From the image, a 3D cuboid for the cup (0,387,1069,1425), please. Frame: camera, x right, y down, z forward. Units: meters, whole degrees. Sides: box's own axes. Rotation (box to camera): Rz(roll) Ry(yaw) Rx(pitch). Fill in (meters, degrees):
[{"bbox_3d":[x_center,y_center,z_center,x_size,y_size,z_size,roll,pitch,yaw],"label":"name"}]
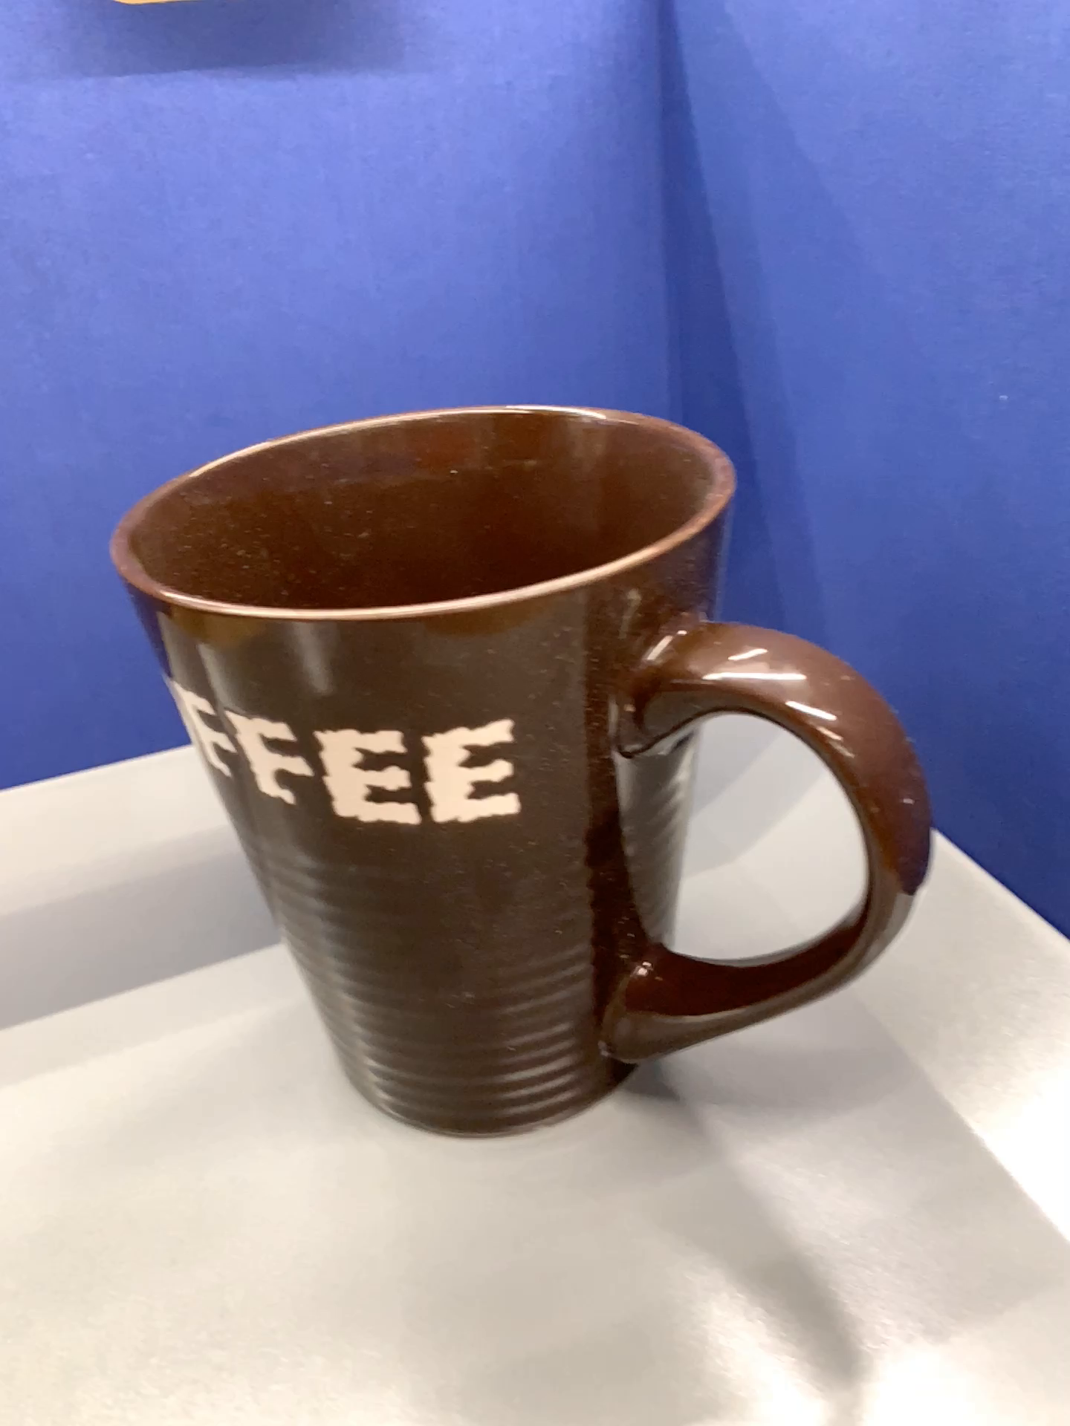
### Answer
[{"bbox_3d":[0.005,0.012,0.179,0.128,0.098,0.089,15,35,34],"label":"cup"}]
